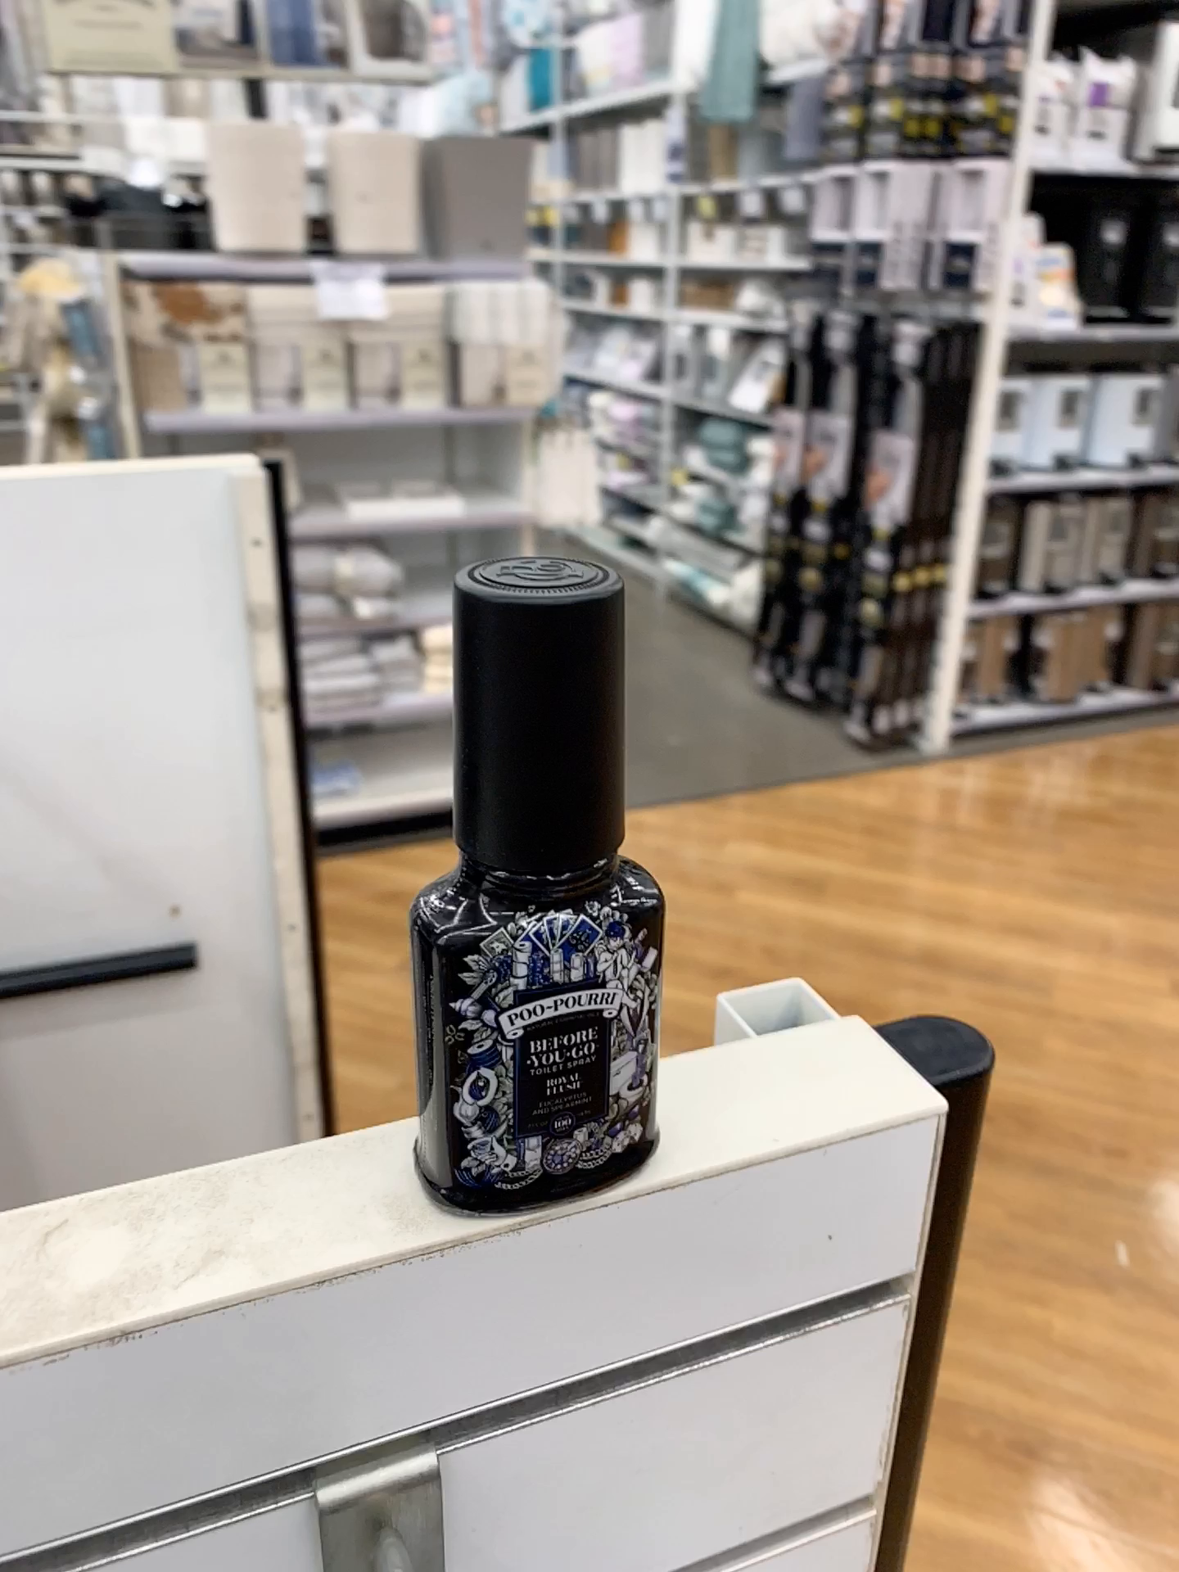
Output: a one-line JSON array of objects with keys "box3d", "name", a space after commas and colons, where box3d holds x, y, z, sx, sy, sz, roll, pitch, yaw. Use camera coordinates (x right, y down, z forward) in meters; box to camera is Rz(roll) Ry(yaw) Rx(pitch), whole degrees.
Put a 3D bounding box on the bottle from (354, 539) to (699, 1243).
[{"box3d": [-0.012, 0.020, 0.230, 0.050, 0.123, 0.033, -8, 25, -20], "name": "bottle"}]
